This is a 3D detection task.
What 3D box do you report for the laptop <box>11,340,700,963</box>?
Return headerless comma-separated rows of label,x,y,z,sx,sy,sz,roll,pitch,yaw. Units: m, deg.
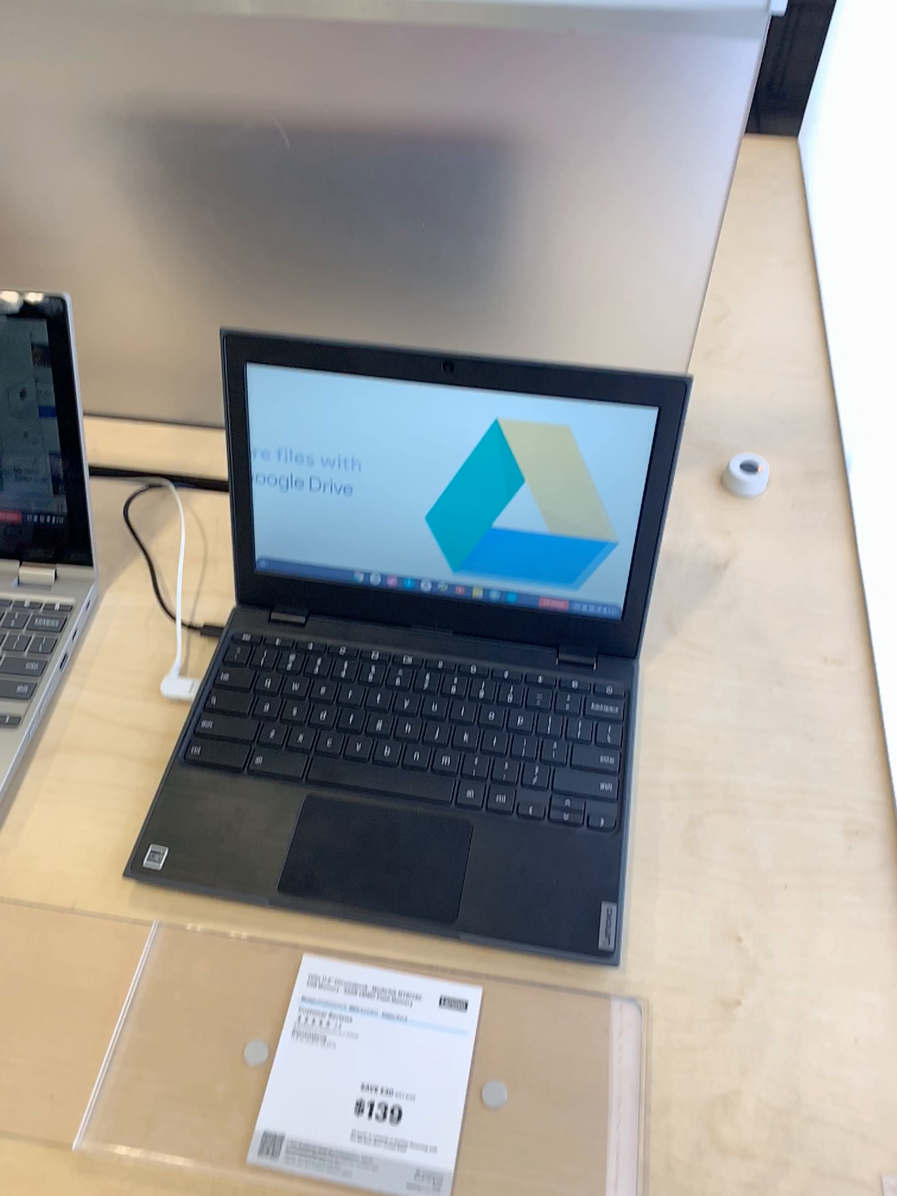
laptop,-0.022,0.018,0.515,0.275,0.171,0.266,8,52,8
